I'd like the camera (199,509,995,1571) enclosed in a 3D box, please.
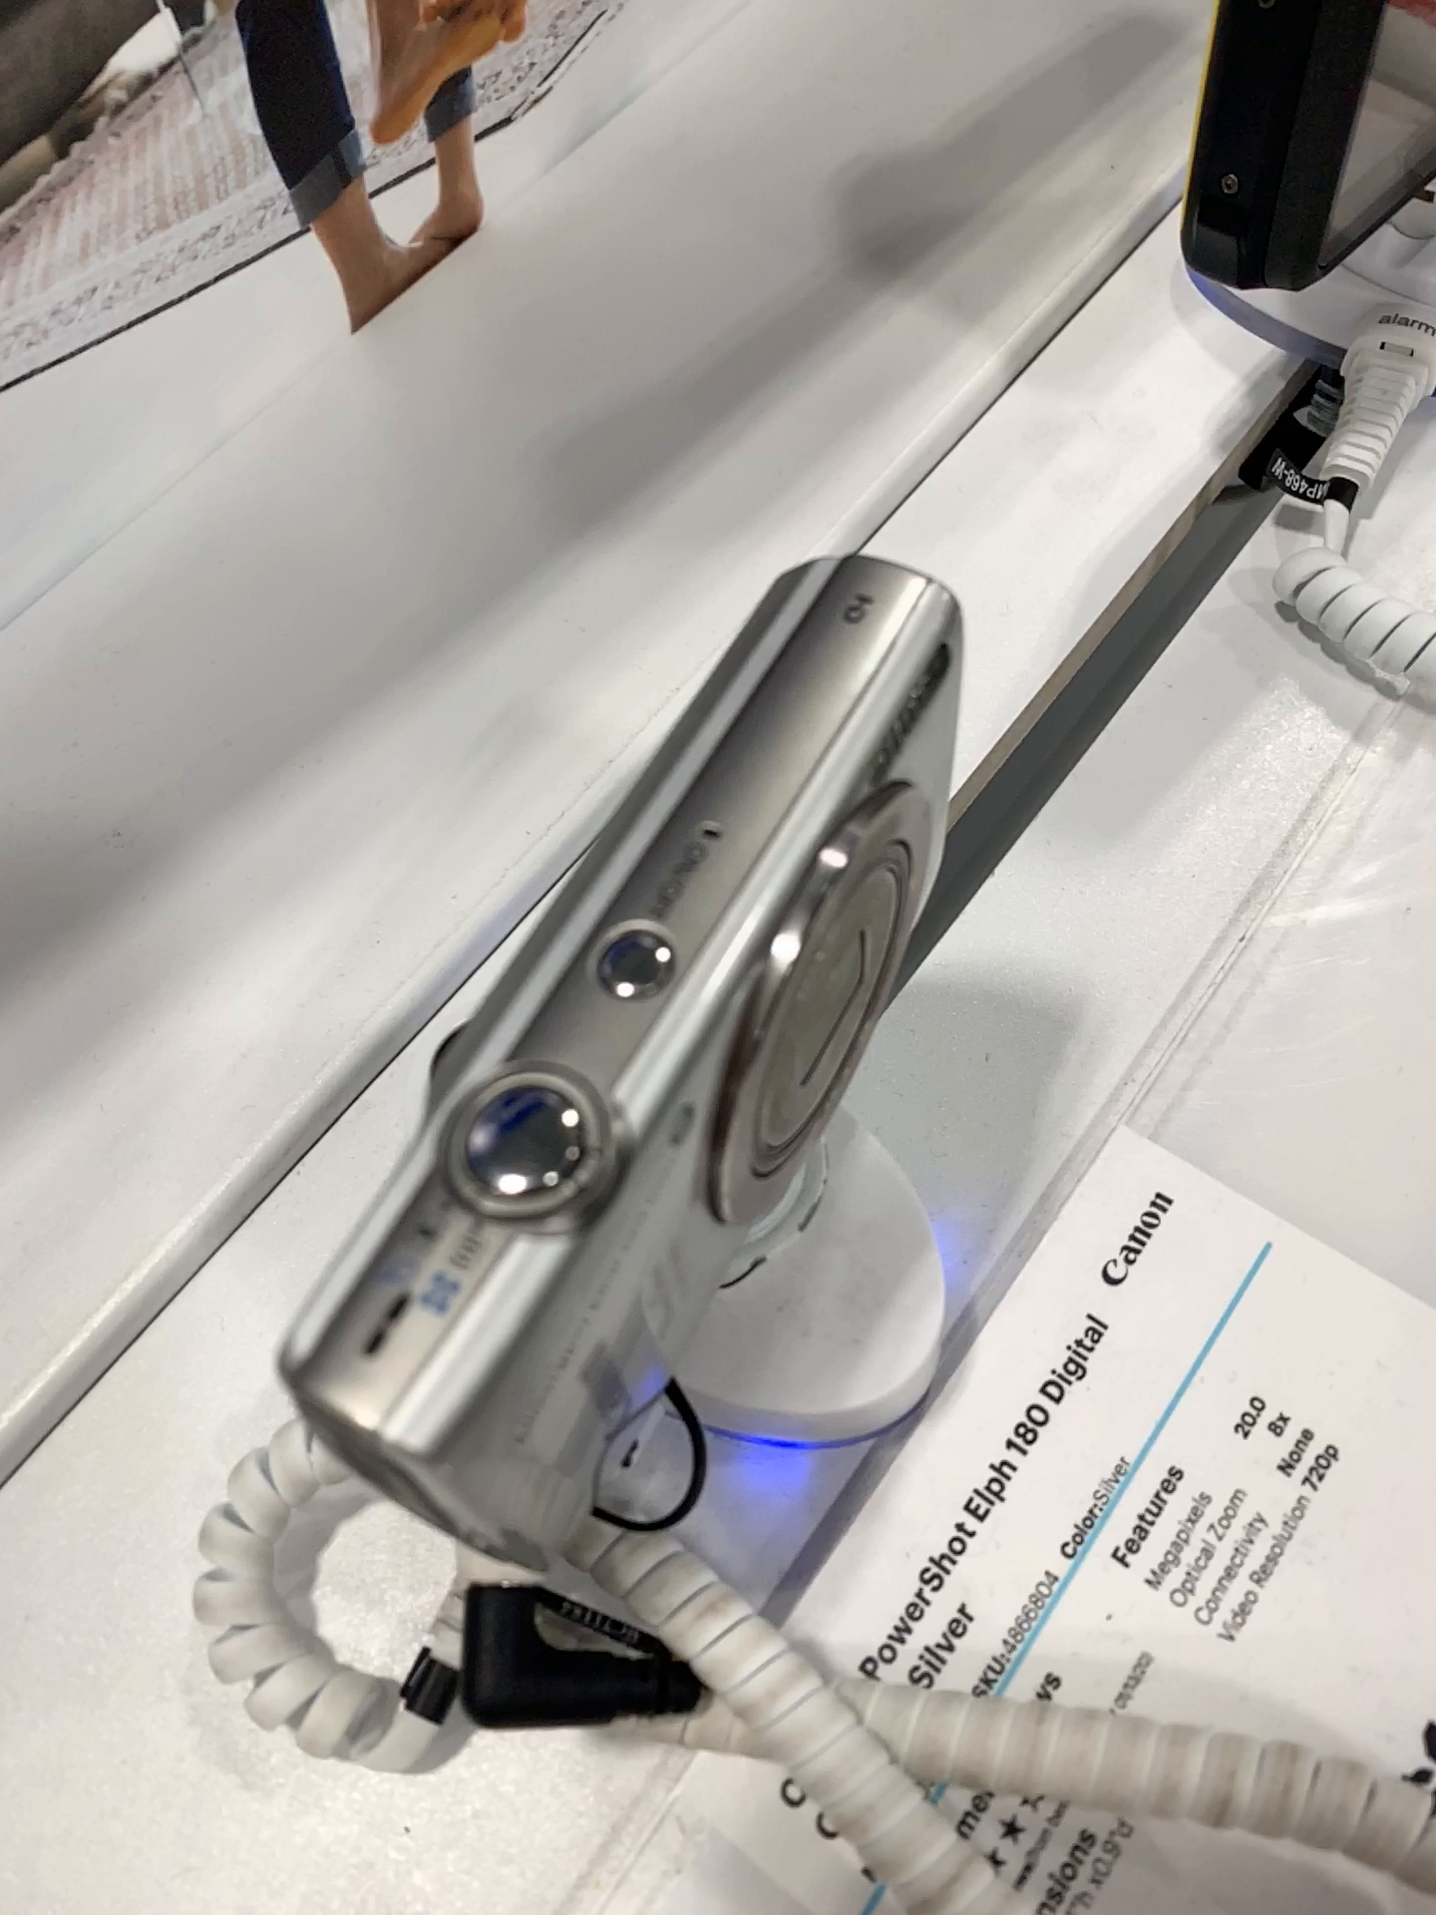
[{"bbox_3d":[-0.006,0.008,0.154,0.022,0.051,0.098,26,65,13],"label":"camera"}]
